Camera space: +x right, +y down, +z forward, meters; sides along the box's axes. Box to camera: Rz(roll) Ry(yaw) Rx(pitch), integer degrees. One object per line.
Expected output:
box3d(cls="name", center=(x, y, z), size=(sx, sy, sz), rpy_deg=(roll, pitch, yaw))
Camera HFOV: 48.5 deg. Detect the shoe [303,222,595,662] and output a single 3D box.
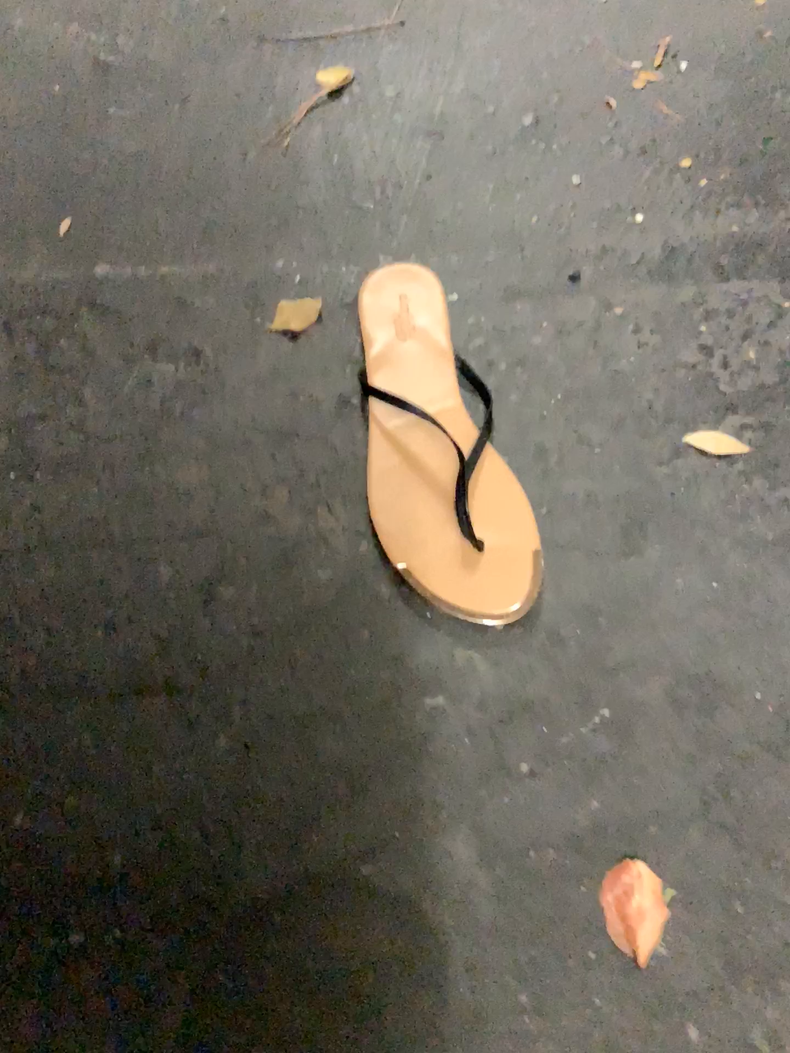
box3d(cls="shoe", center=(0.024, -0.067, 0.561), size=(0.110, 0.030, 0.290), rpy_deg=(-14, 64, -2))
